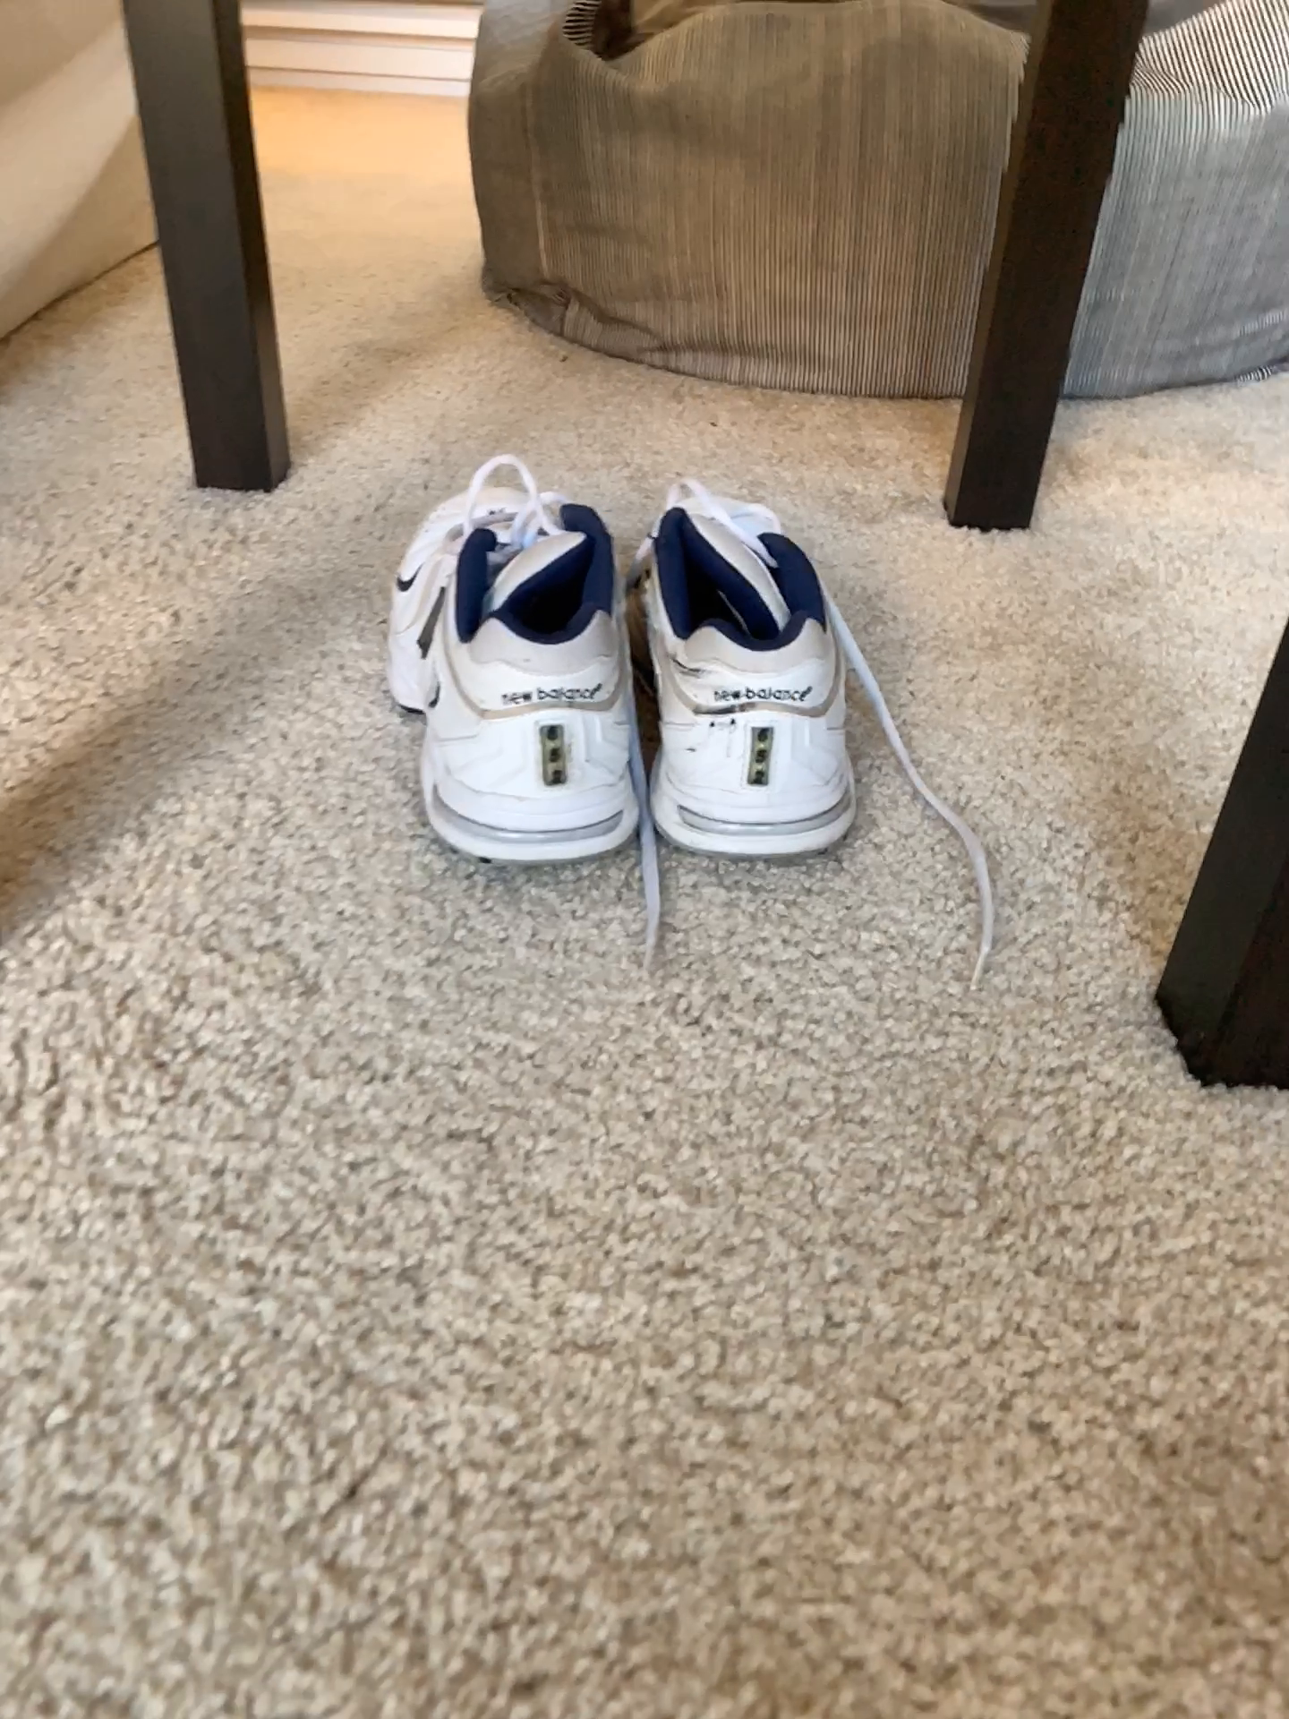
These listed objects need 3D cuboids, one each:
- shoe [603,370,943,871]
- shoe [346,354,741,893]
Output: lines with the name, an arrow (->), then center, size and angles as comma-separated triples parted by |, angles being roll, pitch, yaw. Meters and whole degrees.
shoe -> 0.040, -0.126, 0.603 | 0.110, 0.099, 0.302 | 1, 36, -3
shoe -> -0.060, -0.122, 0.570 | 0.110, 0.099, 0.302 | -6, 37, -13
